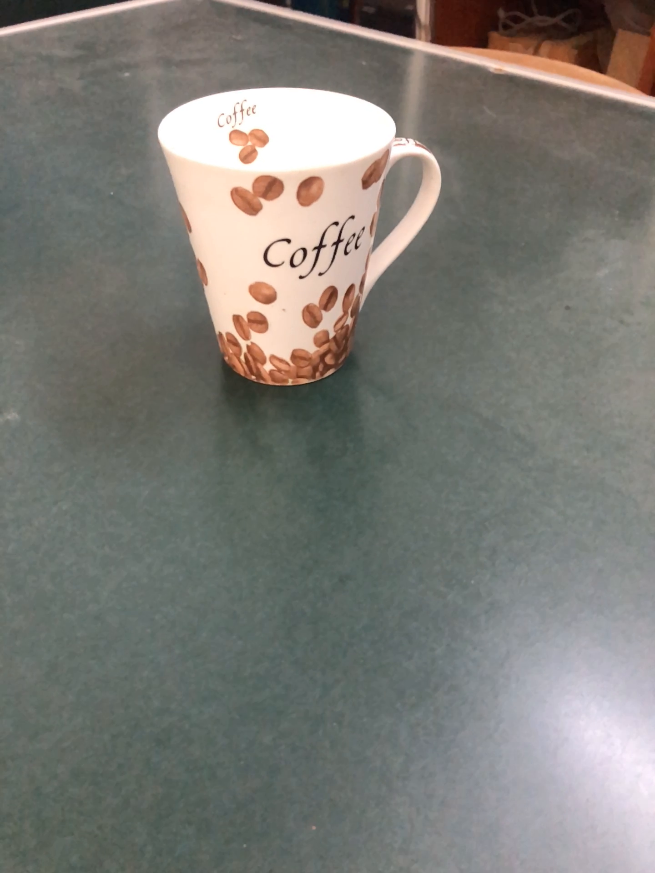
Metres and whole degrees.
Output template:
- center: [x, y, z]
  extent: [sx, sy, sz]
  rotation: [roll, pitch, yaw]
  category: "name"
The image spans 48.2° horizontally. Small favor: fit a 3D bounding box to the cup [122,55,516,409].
- center: [-0.008, -0.089, 0.302]
  extent: [0.120, 0.090, 0.100]
  rotation: [-14, 43, -15]
  category: "cup"
